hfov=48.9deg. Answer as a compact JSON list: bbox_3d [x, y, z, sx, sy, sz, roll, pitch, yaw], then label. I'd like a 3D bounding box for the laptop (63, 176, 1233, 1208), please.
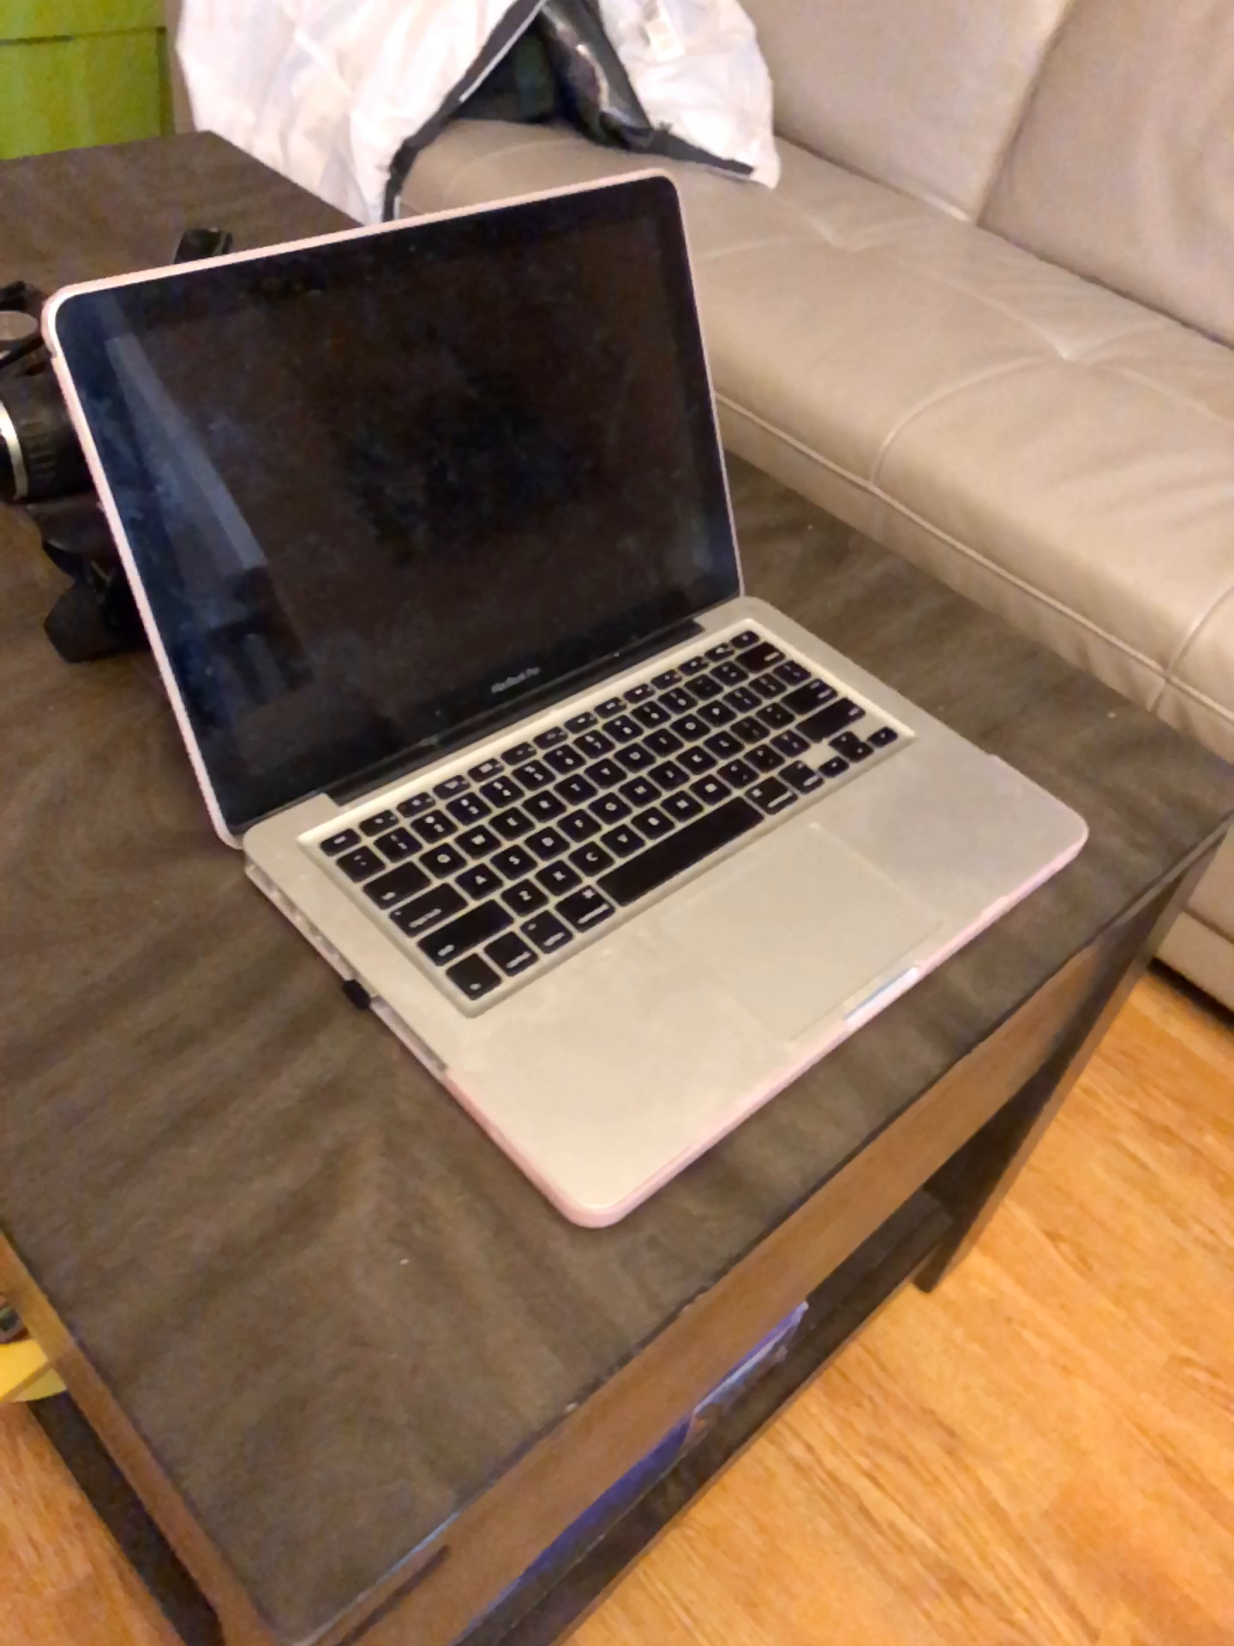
[{"bbox_3d":[0.010,-0.091,0.564,0.313,0.185,0.322,-30,57,-34],"label":"laptop"}]
